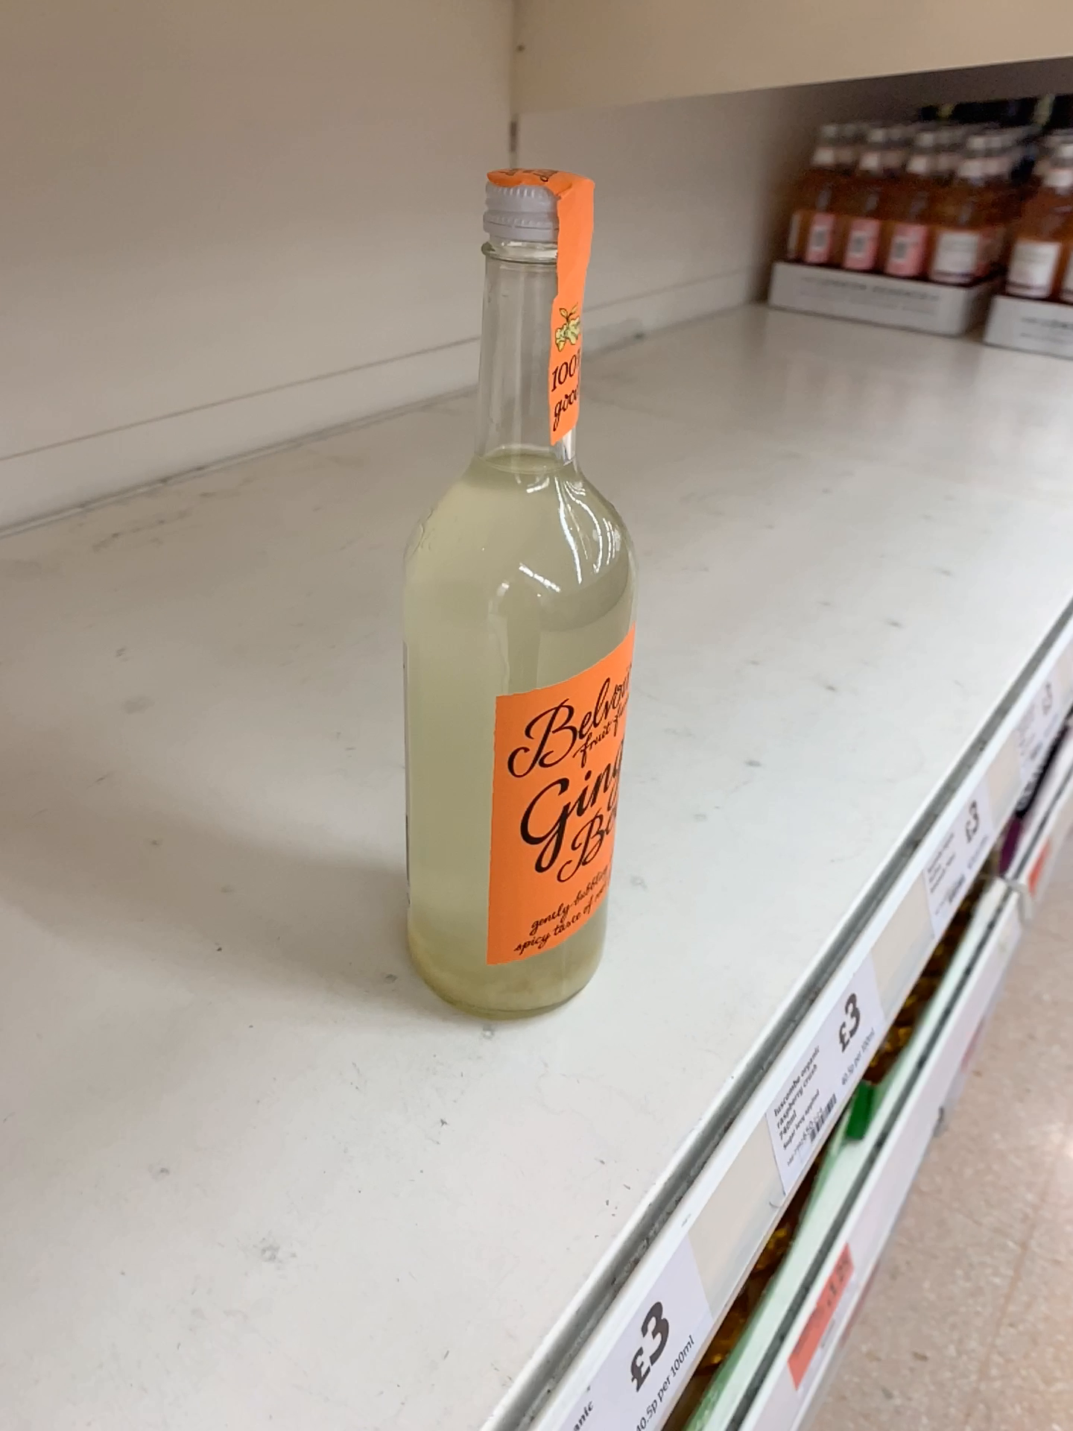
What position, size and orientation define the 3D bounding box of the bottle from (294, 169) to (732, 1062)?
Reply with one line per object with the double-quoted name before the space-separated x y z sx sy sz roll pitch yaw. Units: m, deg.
"bottle" -0.012 -0.028 0.379 0.090 0.277 0.084 2 30 -1
